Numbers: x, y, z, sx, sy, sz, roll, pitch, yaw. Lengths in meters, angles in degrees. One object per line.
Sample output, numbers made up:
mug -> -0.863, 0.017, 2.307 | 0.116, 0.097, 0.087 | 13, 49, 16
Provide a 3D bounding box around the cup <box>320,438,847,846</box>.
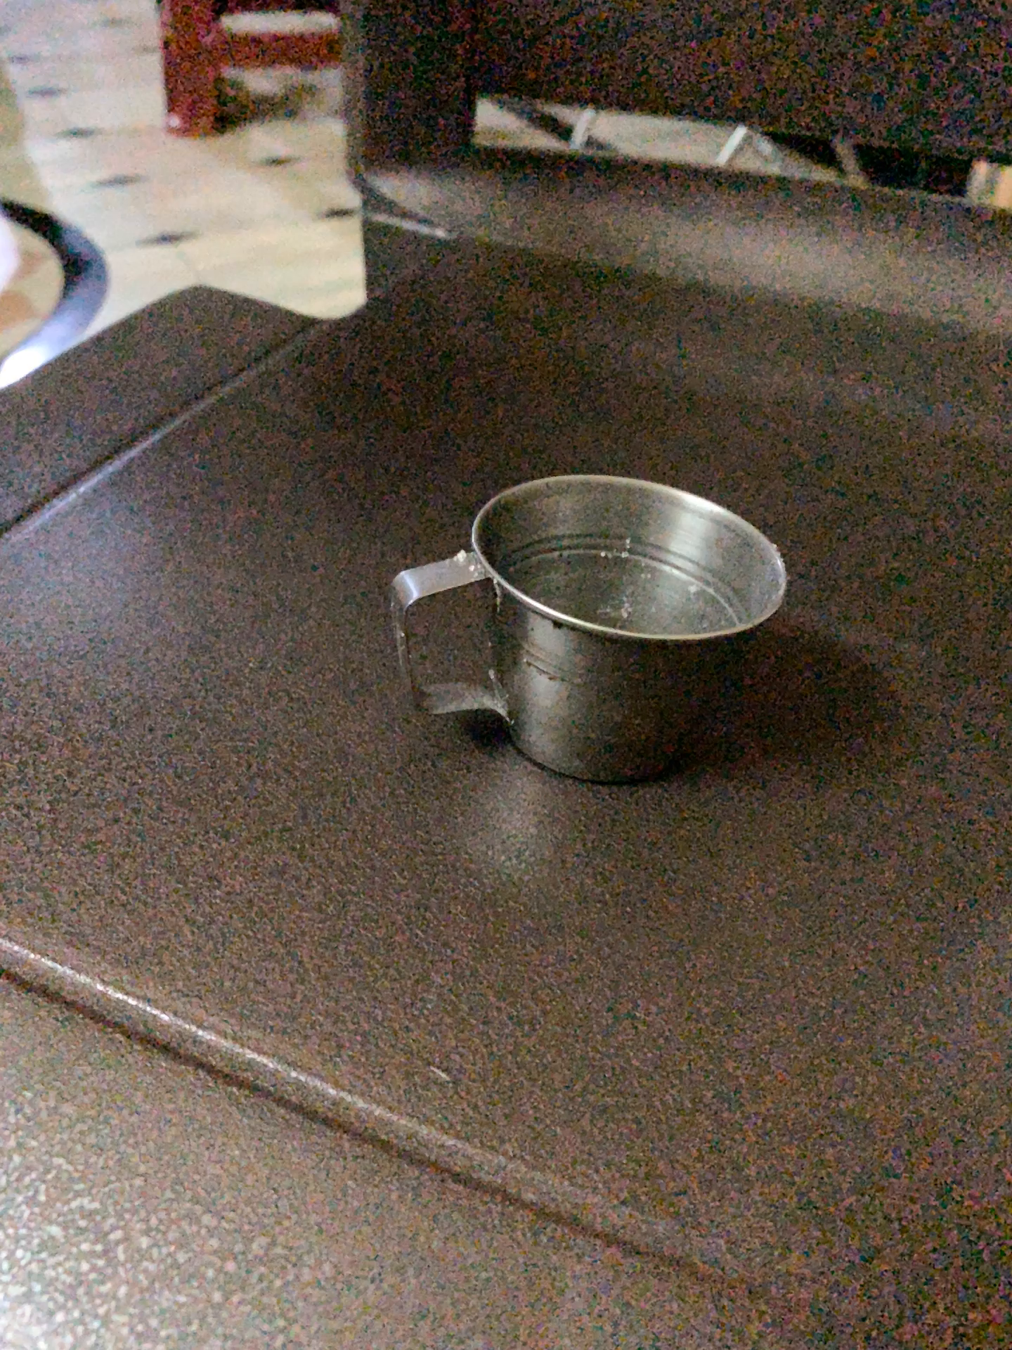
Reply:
cup -> 0.010, -0.010, 0.205 | 0.080, 0.040, 0.060 | -8, 44, -17
